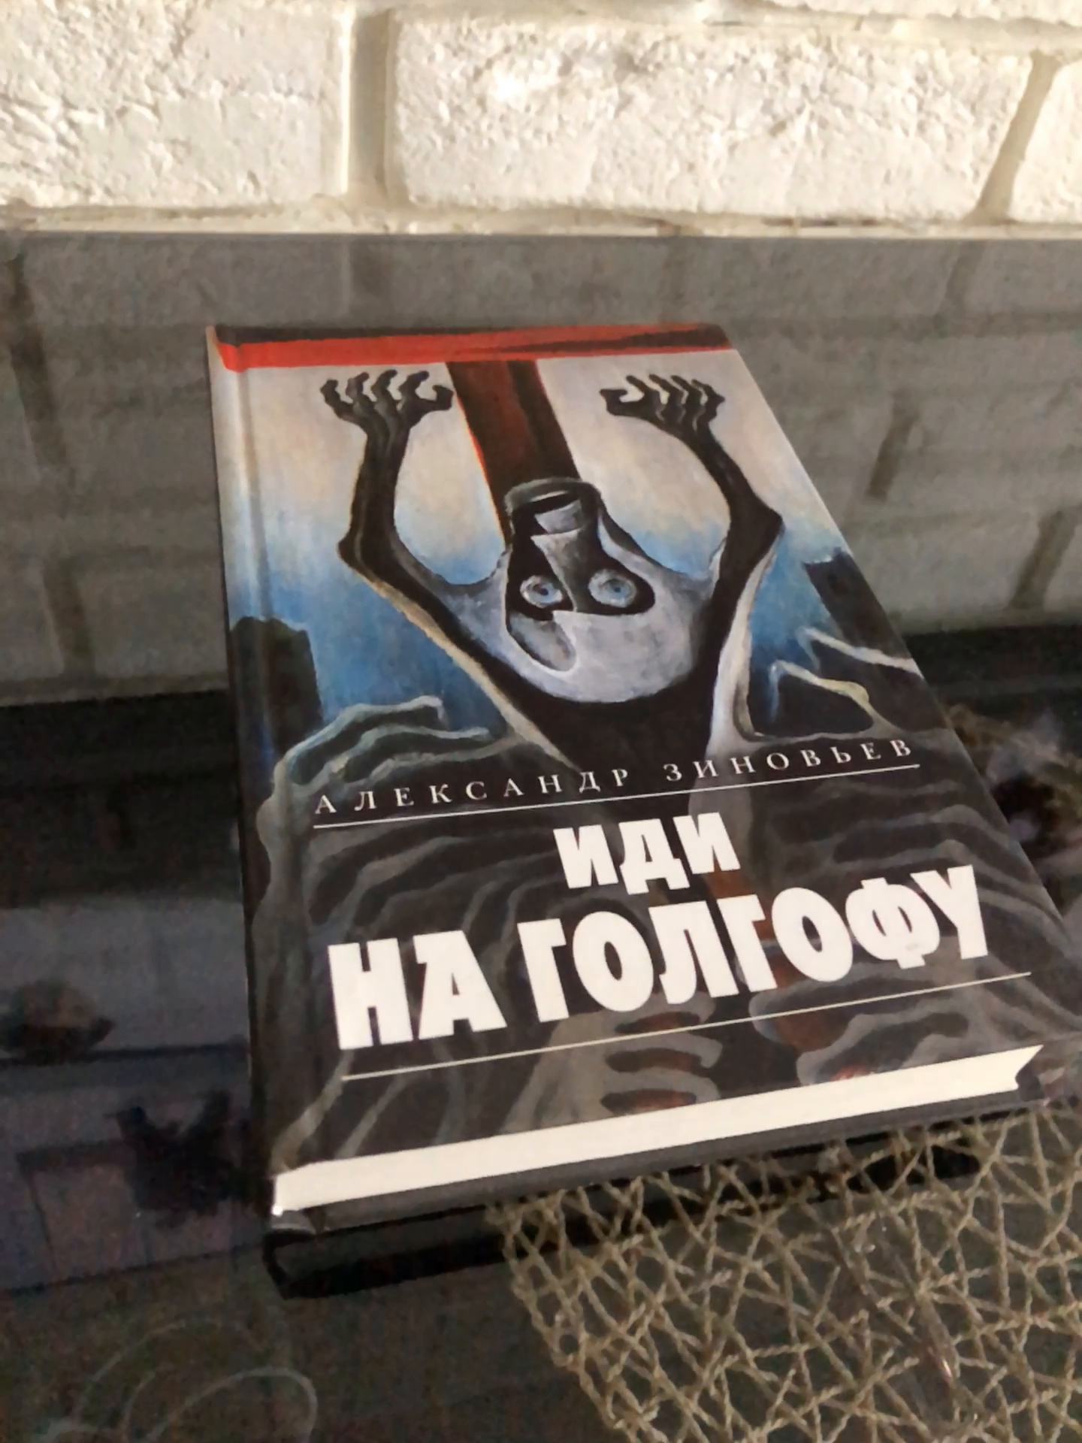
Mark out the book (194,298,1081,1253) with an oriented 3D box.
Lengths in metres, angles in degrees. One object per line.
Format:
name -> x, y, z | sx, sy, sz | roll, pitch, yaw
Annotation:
book -> 0.007, -0.017, 0.233 | 0.140, 0.030, 0.201 | -4, 48, -12
